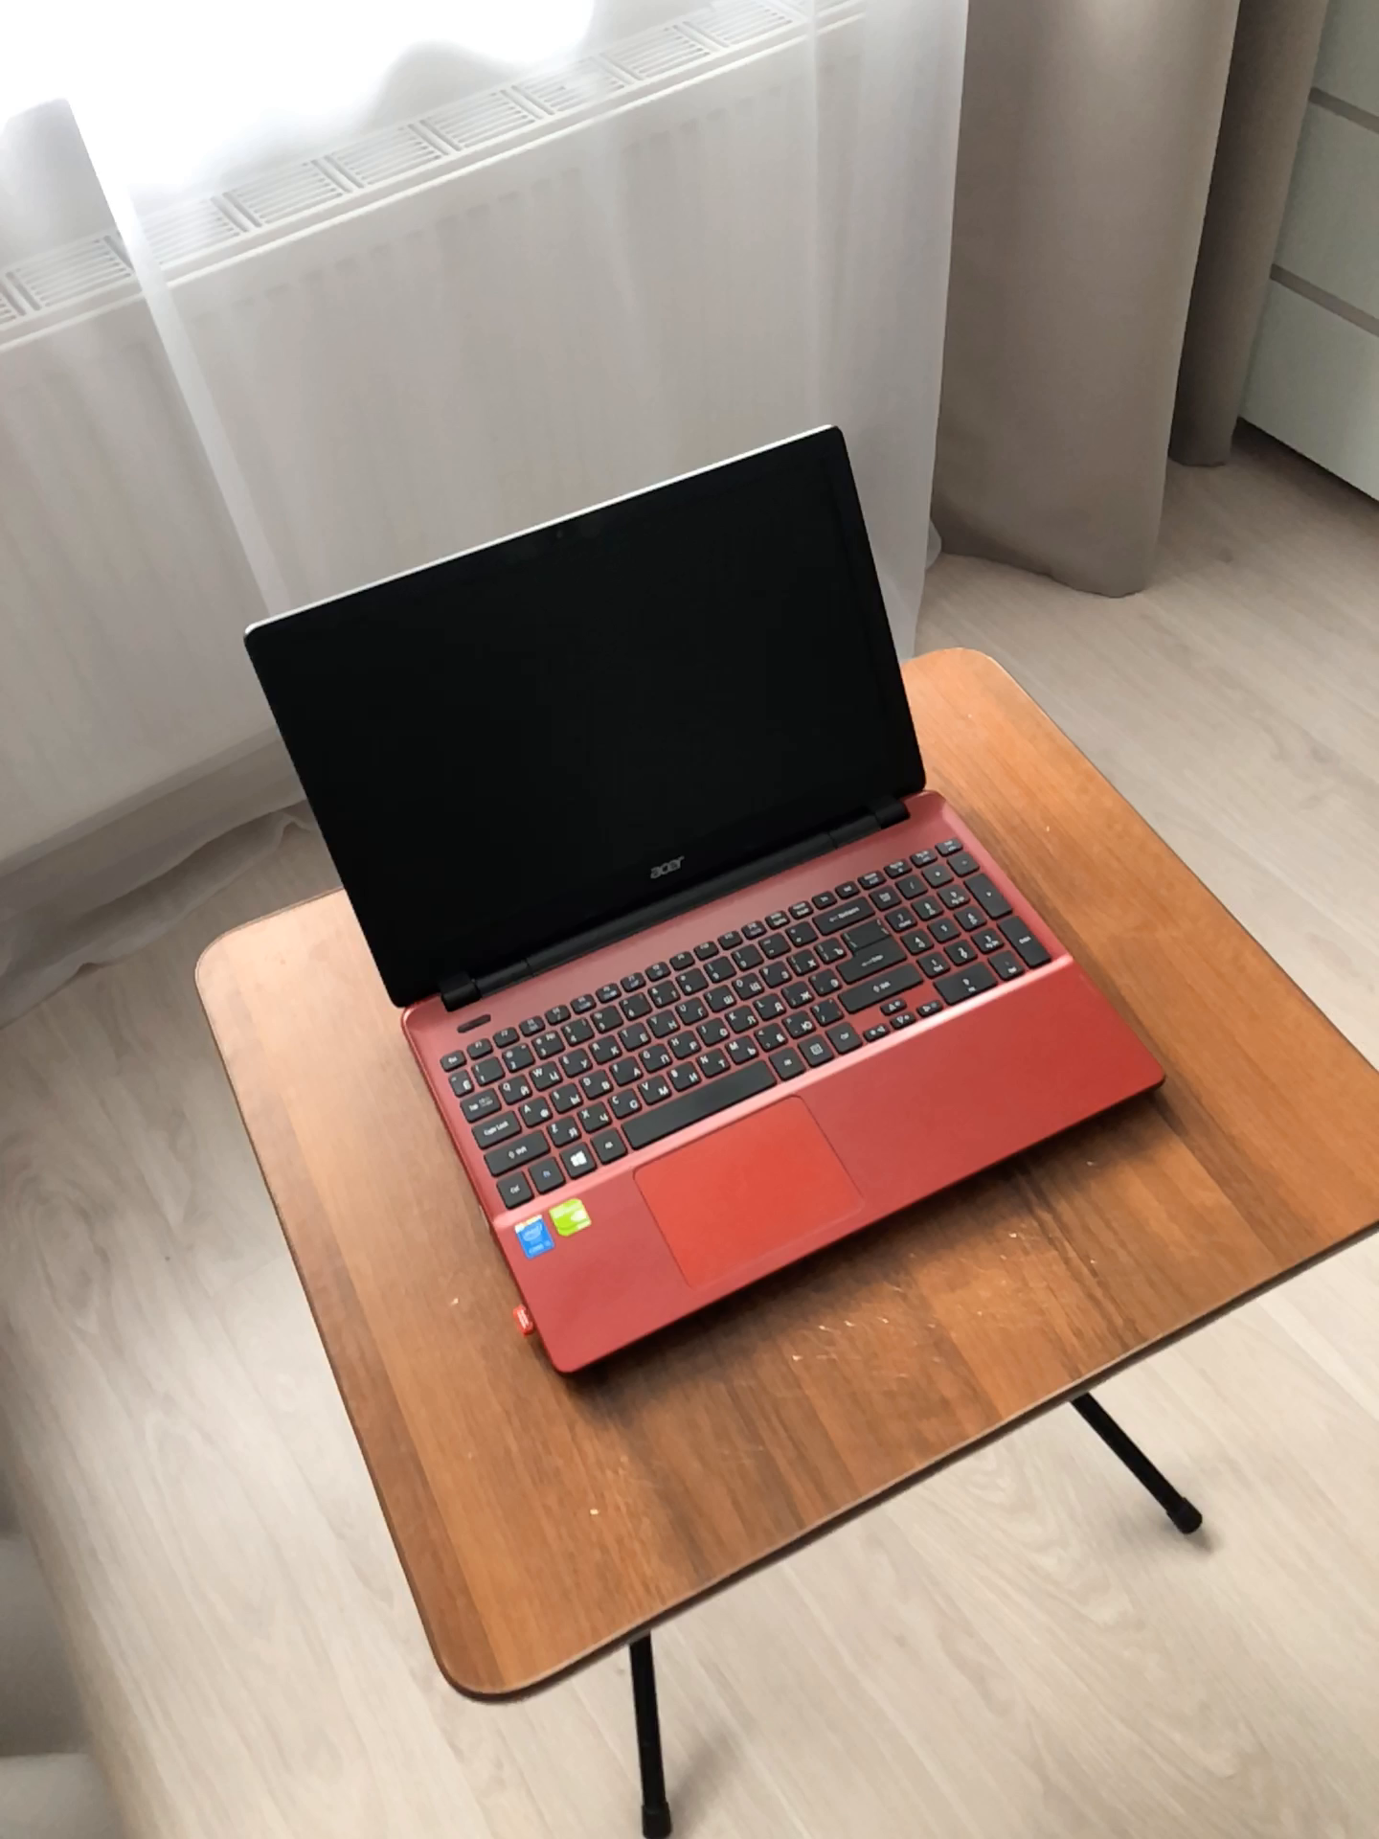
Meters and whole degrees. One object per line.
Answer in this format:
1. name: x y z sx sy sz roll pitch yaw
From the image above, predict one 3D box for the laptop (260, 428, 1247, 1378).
1. laptop: 0.015 -0.032 0.845 0.372 0.191 0.382 -23 55 -13
